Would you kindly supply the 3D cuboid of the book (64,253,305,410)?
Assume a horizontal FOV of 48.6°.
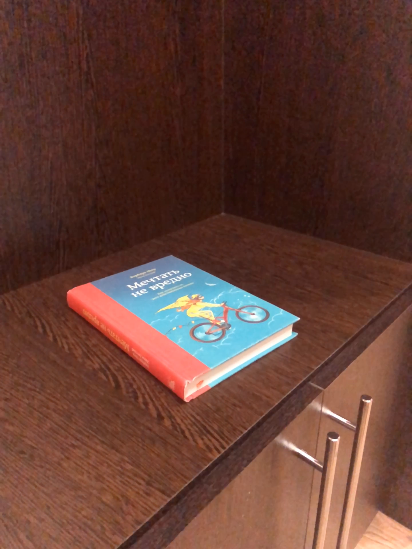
[{"bbox_3d":[-0.029,0.040,0.471,0.145,0.025,0.211,-22,34,-36],"label":"book"}]
